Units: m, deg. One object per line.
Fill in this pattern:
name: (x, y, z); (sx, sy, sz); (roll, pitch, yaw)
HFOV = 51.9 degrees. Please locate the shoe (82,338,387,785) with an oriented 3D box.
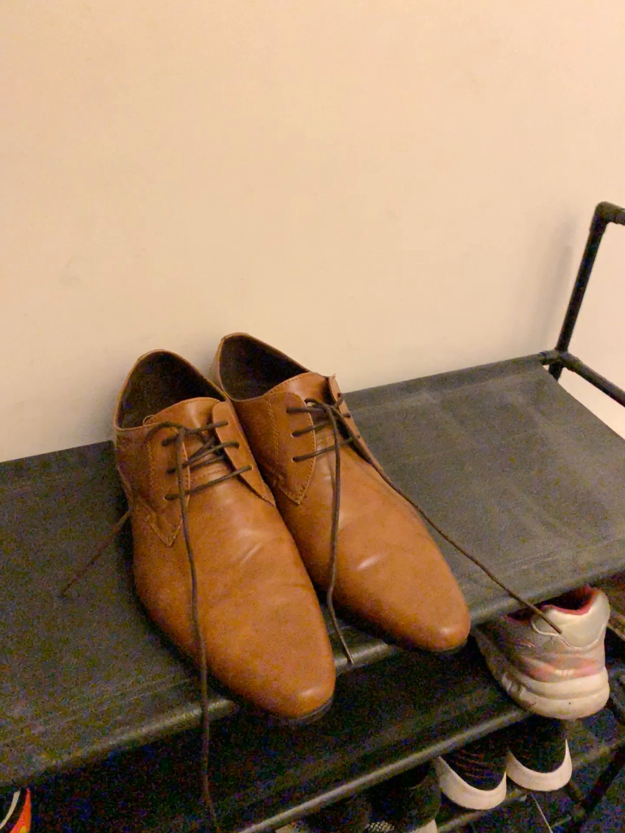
shoe: (-0.074, 0.063, 0.439); (0.100, 0.099, 0.302); (-13, 36, -22)

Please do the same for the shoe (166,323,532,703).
shoe: (0.002, 0.043, 0.482); (0.100, 0.099, 0.302); (-19, 39, -29)
